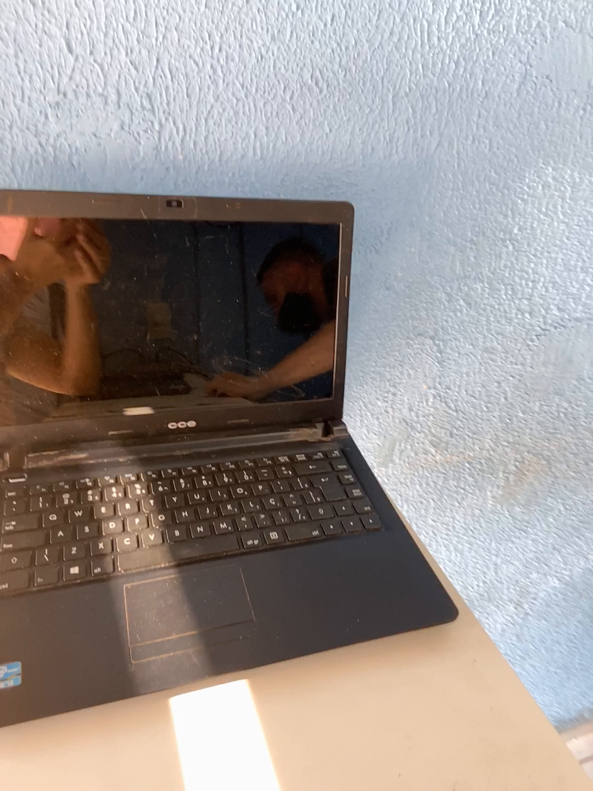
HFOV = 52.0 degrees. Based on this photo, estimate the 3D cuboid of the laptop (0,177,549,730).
[{"bbox_3d":[-0.070,-0.004,0.467,0.334,0.210,0.313,-4,34,-18],"label":"laptop"}]
